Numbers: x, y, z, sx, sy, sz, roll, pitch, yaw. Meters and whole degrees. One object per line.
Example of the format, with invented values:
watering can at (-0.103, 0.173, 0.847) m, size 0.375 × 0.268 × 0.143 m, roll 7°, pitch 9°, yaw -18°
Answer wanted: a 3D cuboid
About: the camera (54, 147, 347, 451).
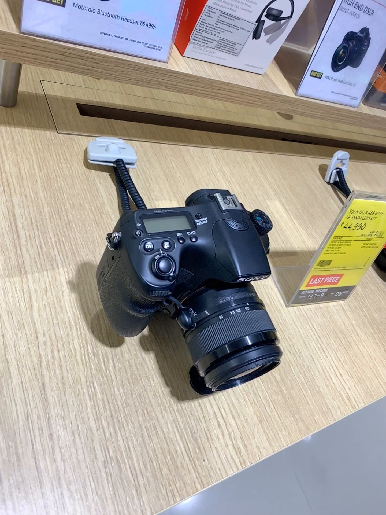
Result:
camera at (-0.002, 0.013, 0.287) m, size 0.130 × 0.070 × 0.180 m, roll -8°, pitch 60°, yaw -38°
